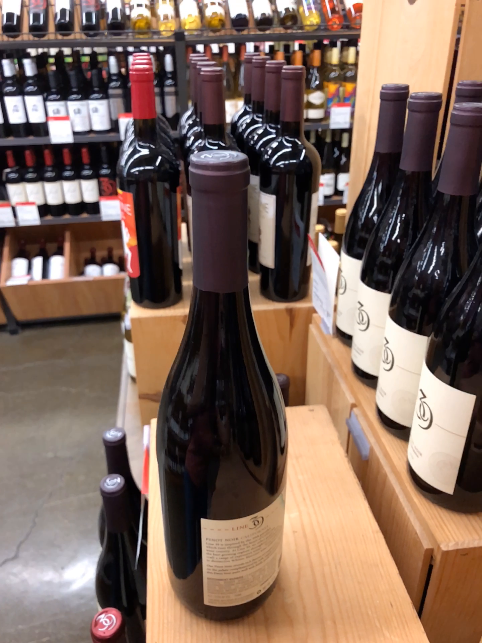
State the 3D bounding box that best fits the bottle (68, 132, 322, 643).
[{"bbox_3d":[-0.019,0.050,0.306,0.080,0.283,0.080,-1,28,0],"label":"bottle"}]
